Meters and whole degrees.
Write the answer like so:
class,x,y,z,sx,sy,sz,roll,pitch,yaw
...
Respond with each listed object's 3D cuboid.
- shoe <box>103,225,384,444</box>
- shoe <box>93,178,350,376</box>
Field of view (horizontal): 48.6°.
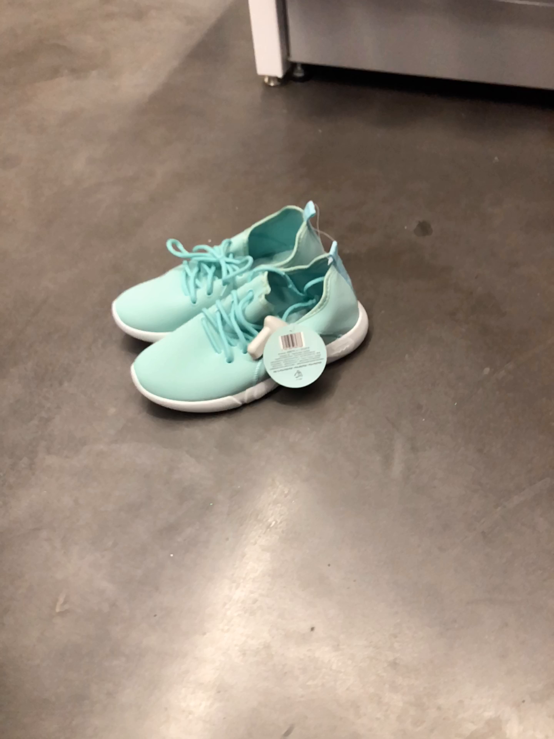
class,x,y,z,sx,sy,sz,roll,pitch,yaw
shoe,-0.028,-0.034,0.579,0.230,0.100,0.100,-19,53,-8
shoe,-0.051,-0.095,0.625,0.230,0.100,0.100,-18,53,-7
